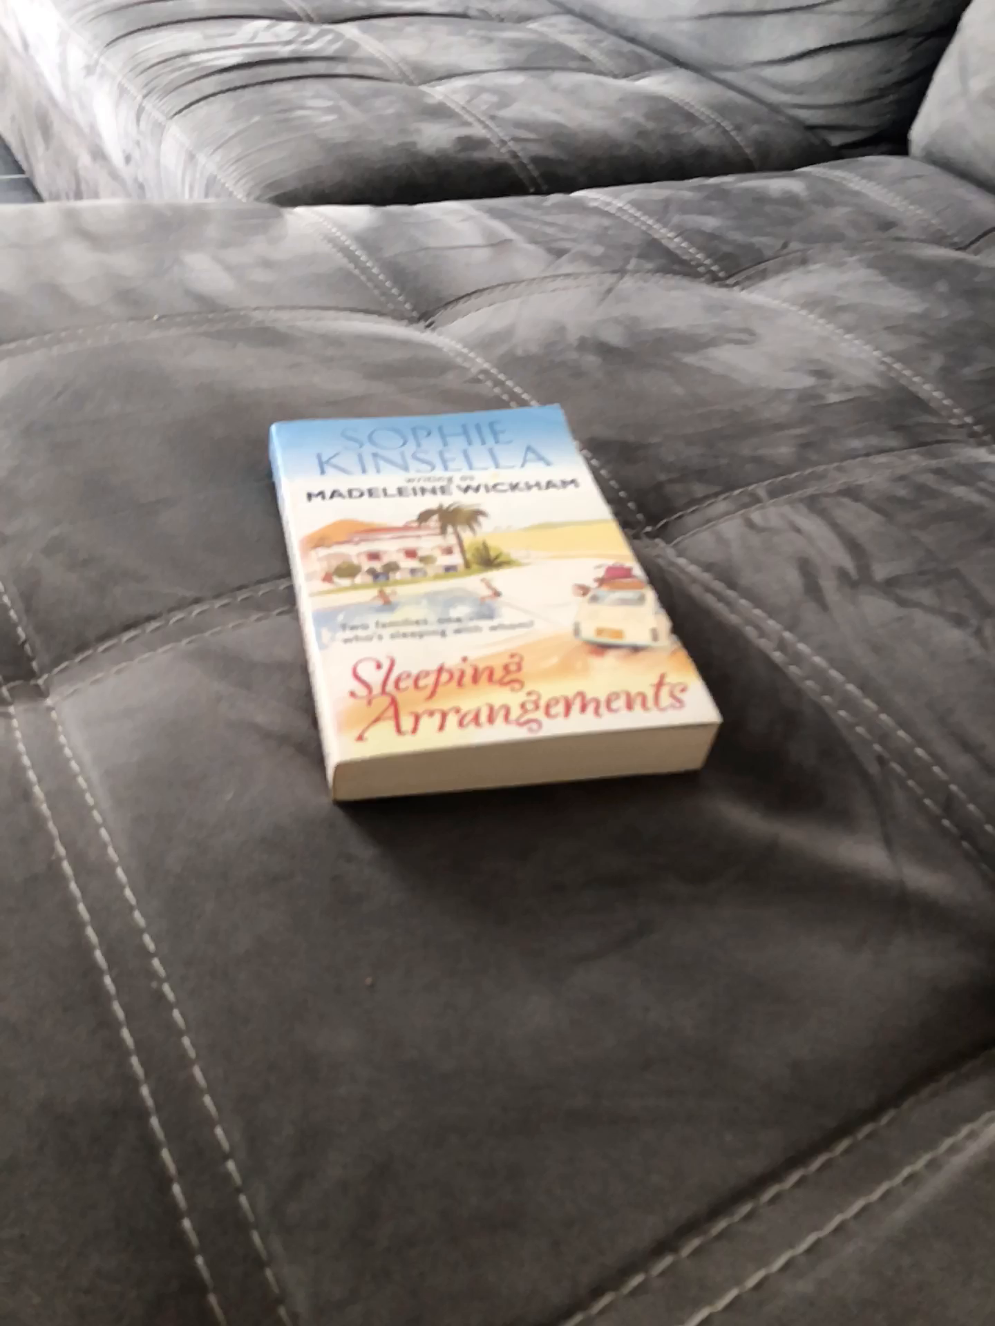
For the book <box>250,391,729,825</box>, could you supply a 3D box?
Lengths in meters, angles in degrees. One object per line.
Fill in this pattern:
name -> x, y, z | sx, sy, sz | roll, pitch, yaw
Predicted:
book -> -0.016, -0.036, 0.399 | 0.130, 0.030, 0.201 | -4, 44, -15
